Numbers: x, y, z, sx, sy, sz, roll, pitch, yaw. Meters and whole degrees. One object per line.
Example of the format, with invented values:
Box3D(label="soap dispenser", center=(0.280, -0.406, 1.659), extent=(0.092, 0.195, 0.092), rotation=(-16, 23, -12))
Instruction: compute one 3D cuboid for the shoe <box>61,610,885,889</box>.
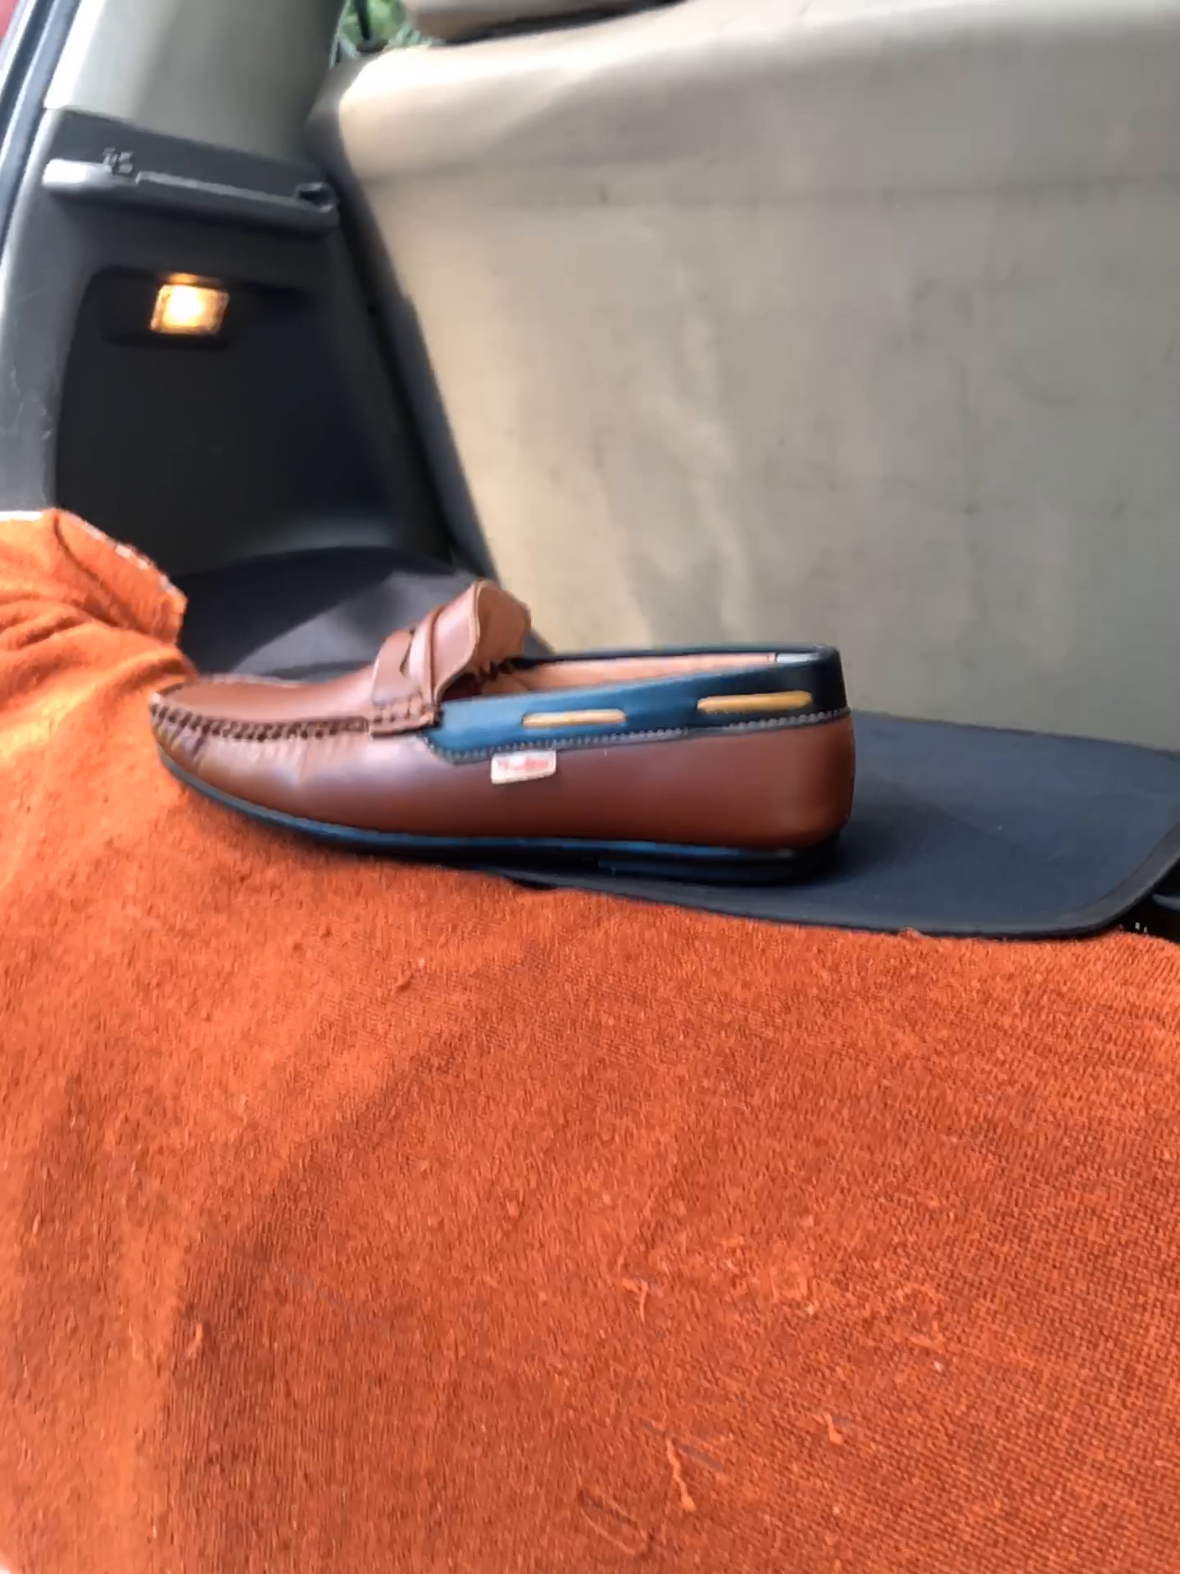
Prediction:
Box3D(label="shoe", center=(-0.037, -0.022, 0.488), extent=(0.280, 0.070, 0.111), rotation=(2, 17, 16))
